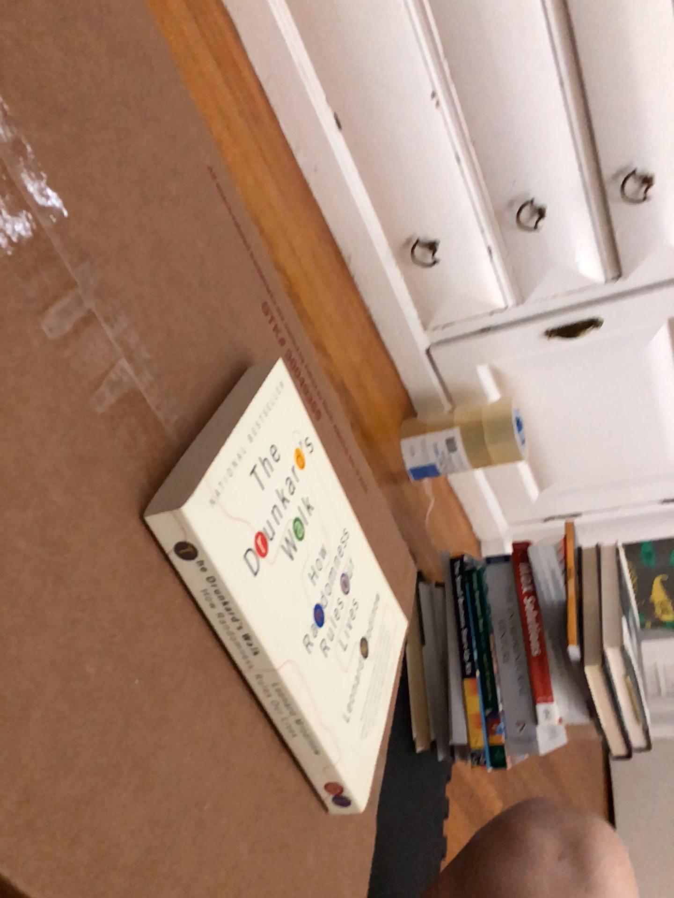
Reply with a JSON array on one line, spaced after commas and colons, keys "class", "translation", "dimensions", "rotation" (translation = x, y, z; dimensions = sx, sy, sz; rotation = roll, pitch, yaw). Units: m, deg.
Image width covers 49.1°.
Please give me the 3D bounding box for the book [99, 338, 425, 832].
[{"class": "book", "translation": [-0.018, 0.070, 0.382], "dimensions": [0.210, 0.040, 0.141], "rotation": [65, 27, -27]}]
